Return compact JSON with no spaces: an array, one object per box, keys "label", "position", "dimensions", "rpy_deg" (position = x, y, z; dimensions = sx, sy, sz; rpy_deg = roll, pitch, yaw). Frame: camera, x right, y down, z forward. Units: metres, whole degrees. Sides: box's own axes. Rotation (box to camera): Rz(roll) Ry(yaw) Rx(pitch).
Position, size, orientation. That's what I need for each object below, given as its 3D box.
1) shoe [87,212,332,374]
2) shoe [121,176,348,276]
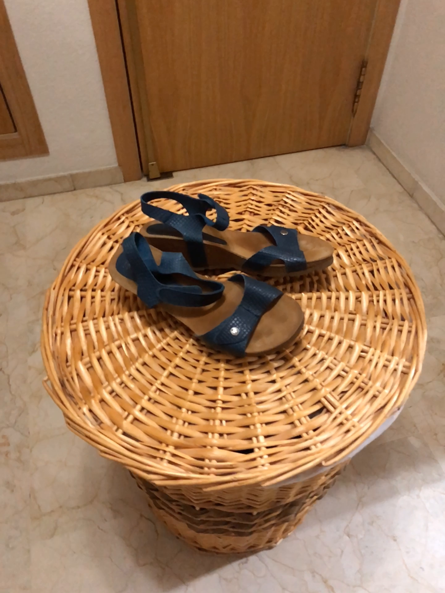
[{"label":"shoe","position":[-0.020,-0.013,0.599],"dimensions":[0.280,0.060,0.090],"rpy_deg":[22,48,17]},{"label":"shoe","position":[0.018,-0.096,0.652],"dimensions":[0.280,0.060,0.090],"rpy_deg":[7,45,6]}]
